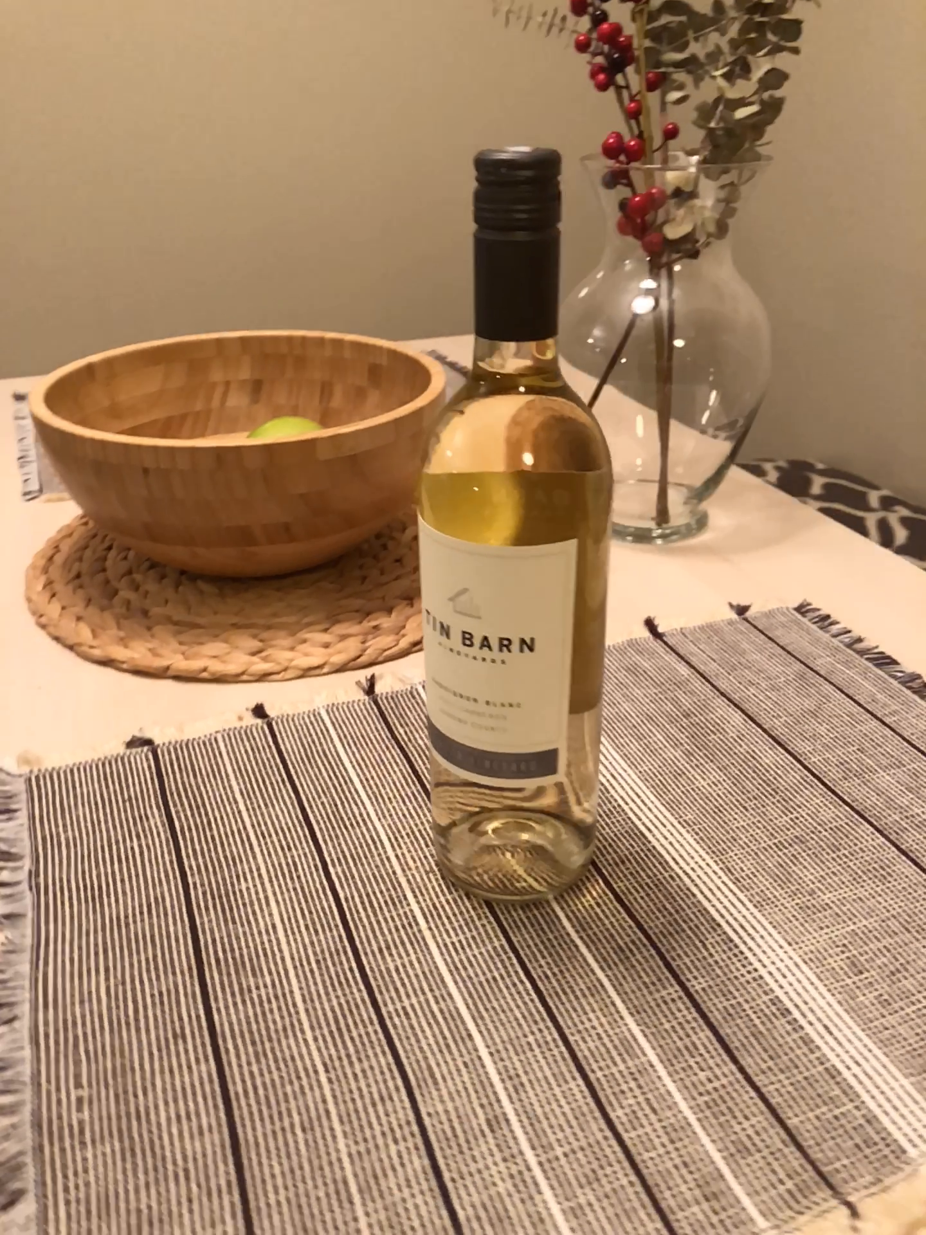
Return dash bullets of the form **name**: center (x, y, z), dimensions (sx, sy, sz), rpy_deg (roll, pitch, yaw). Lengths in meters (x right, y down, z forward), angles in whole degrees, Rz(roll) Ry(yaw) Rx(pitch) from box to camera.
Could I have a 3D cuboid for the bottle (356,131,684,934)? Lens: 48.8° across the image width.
- **bottle**: center (0.023, -0.026, 0.407), dimensions (0.080, 0.298, 0.080), rpy_deg (-1, 27, 0)
